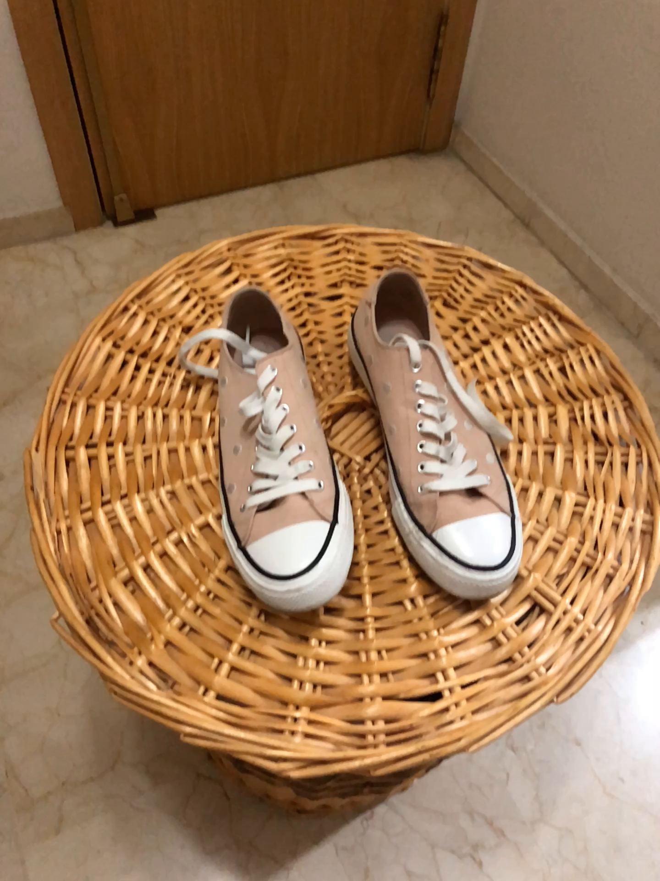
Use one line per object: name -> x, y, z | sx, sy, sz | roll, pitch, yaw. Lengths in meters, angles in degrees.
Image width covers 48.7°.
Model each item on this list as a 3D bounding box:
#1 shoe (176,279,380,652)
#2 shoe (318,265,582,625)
shoe -> -0.043, 0.010, 0.534 | 0.093, 0.095, 0.247 | -15, 54, 0
shoe -> 0.072, -0.006, 0.537 | 0.087, 0.085, 0.247 | -13, 58, -14
